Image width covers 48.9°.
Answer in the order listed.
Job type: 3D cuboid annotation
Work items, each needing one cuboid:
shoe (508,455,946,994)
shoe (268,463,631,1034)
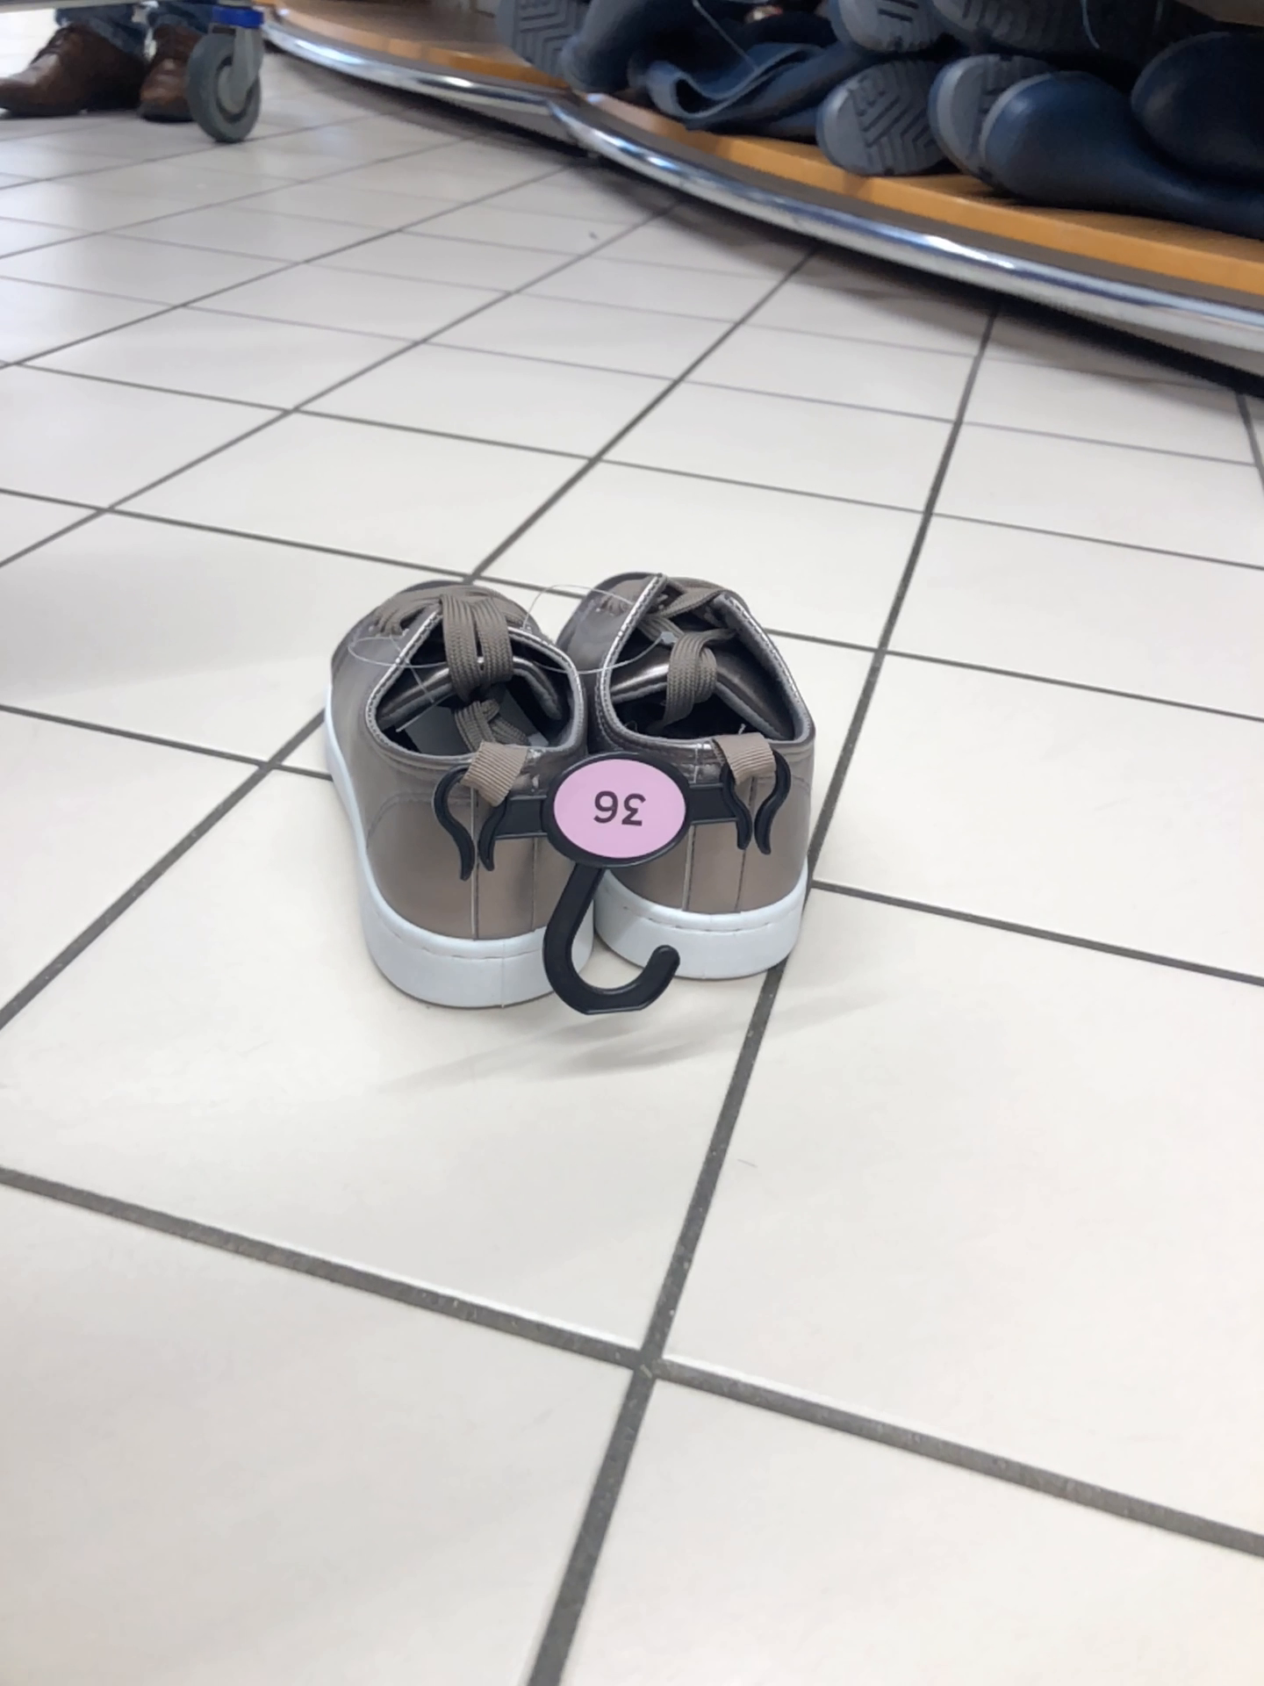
[{"bbox_3d":[0.016,-0.058,0.488,0.090,0.079,0.241,-3,34,-11],"label":"shoe"},{"bbox_3d":[-0.073,-0.049,0.468,0.090,0.079,0.241,-4,34,-13],"label":"shoe"}]
